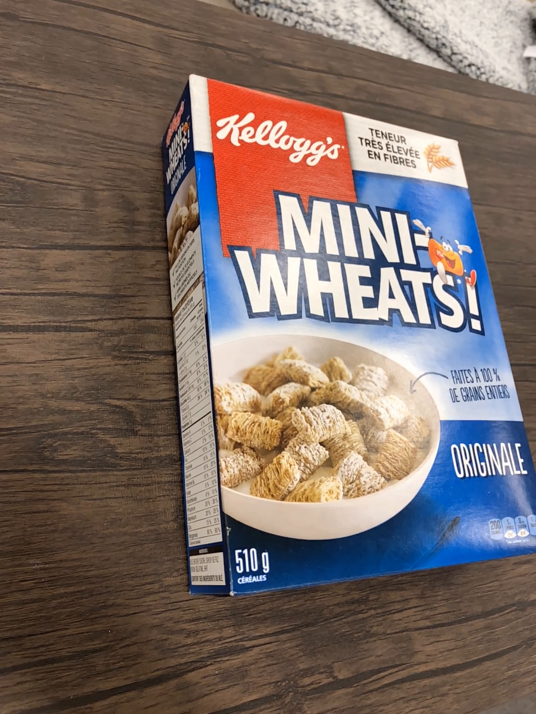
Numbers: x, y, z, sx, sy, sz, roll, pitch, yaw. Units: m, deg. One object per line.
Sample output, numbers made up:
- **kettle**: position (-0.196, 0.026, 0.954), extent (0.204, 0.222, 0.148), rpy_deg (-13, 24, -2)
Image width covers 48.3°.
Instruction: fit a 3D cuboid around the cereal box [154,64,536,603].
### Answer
- **cereal box**: position (0.060, -0.016, 0.350), extent (0.231, 0.060, 0.270), rpy_deg (3, 68, -25)
